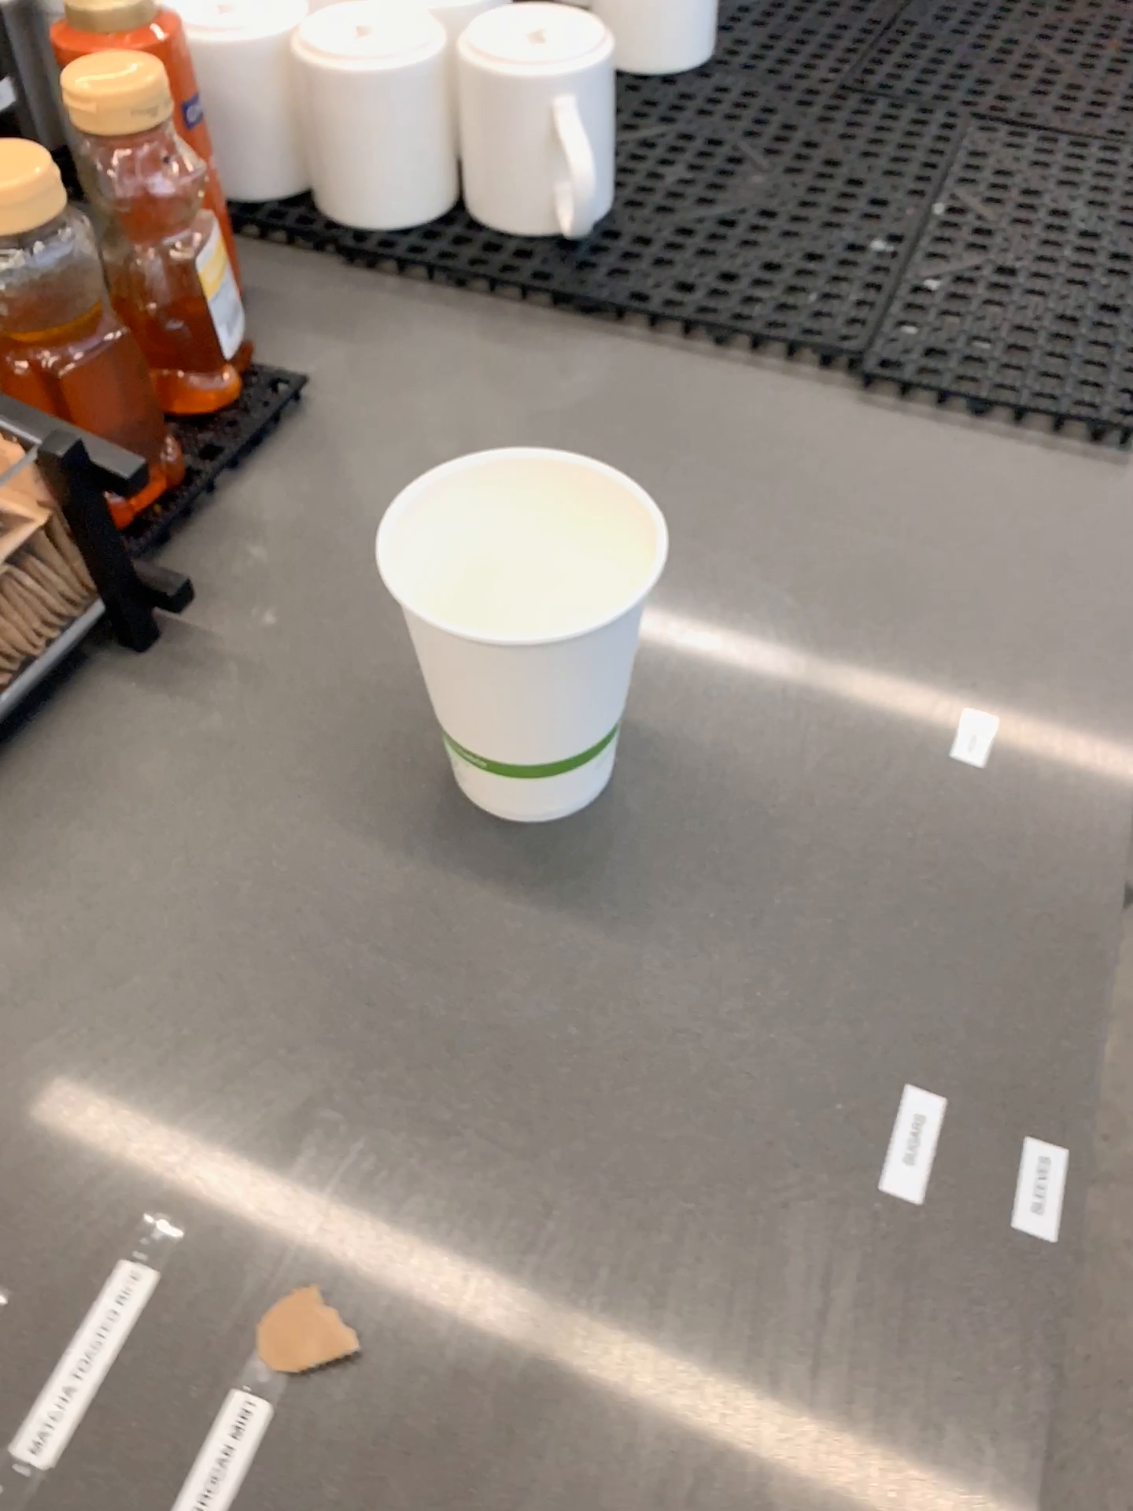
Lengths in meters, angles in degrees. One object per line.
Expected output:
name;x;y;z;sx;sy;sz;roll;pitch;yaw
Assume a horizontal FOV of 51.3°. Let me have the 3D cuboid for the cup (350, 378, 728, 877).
cup;-0.009;-0.039;0.386;0.080;0.119;0.080;0;51;0
